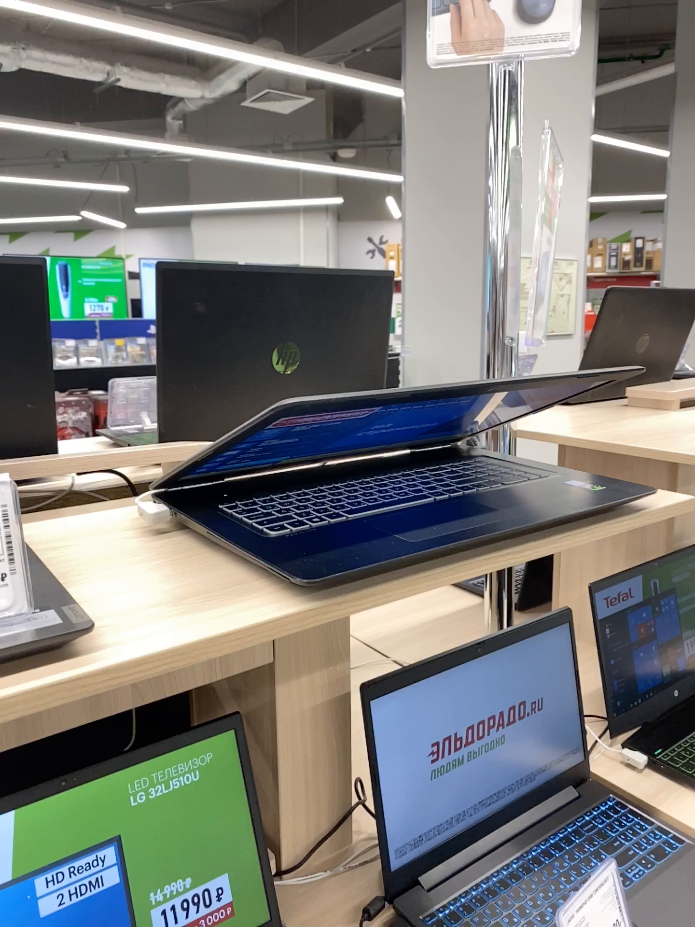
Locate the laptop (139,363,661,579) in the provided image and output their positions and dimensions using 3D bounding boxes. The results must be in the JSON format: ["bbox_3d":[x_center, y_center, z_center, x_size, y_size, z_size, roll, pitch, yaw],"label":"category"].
[{"bbox_3d":[0.051,-0.024,0.662,0.397,0.103,0.264,-8,15,-35],"label":"laptop"}]
